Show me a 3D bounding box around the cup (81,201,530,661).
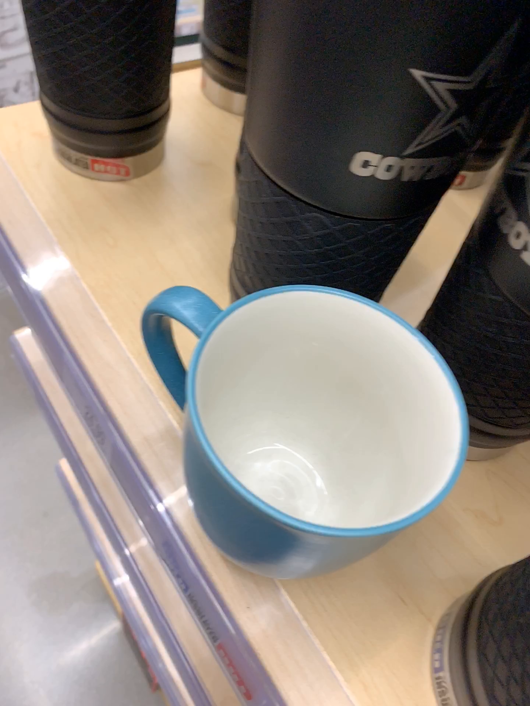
[{"bbox_3d":[0.008,0.026,0.204,0.090,0.084,0.116,-34,68,-29],"label":"cup"}]
